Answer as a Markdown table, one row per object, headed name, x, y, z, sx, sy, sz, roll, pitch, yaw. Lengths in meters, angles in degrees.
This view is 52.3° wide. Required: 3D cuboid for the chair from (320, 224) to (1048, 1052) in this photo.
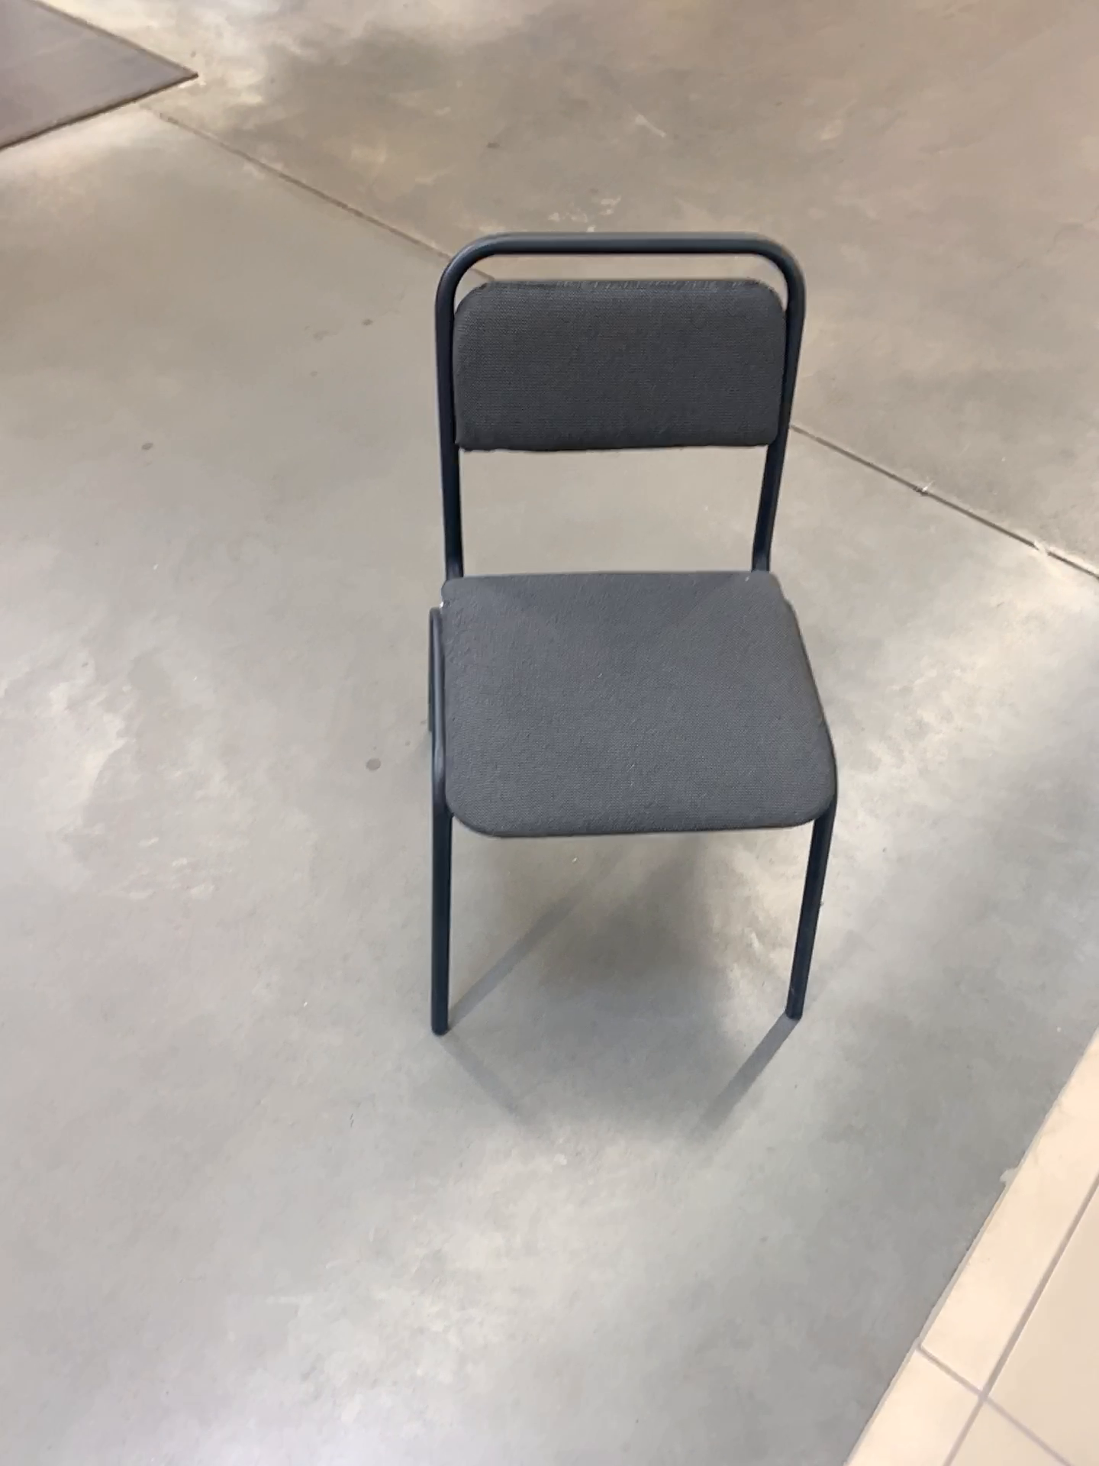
| name | x | y | z | sx | sy | sz | roll | pitch | yaw |
| --- | --- | --- | --- | --- | --- | --- | --- | --- | --- |
| chair | 0.079 | -0.084 | 1.324 | 0.550 | 0.737 | 0.632 | -1 | 51 | -3 |
